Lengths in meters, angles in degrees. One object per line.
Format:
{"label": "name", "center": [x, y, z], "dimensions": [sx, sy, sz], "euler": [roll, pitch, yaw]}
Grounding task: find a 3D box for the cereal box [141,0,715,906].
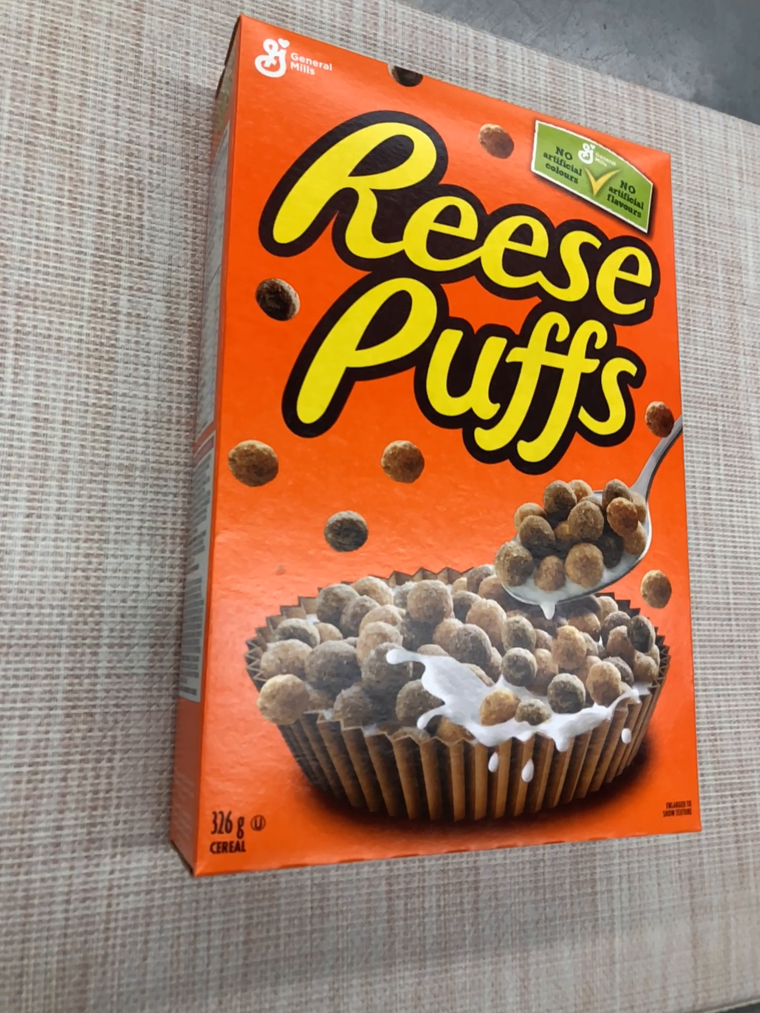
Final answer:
{"label": "cereal box", "center": [0.026, -0.019, 0.317], "dimensions": [0.200, 0.060, 0.280], "euler": [5, 80, -27]}
